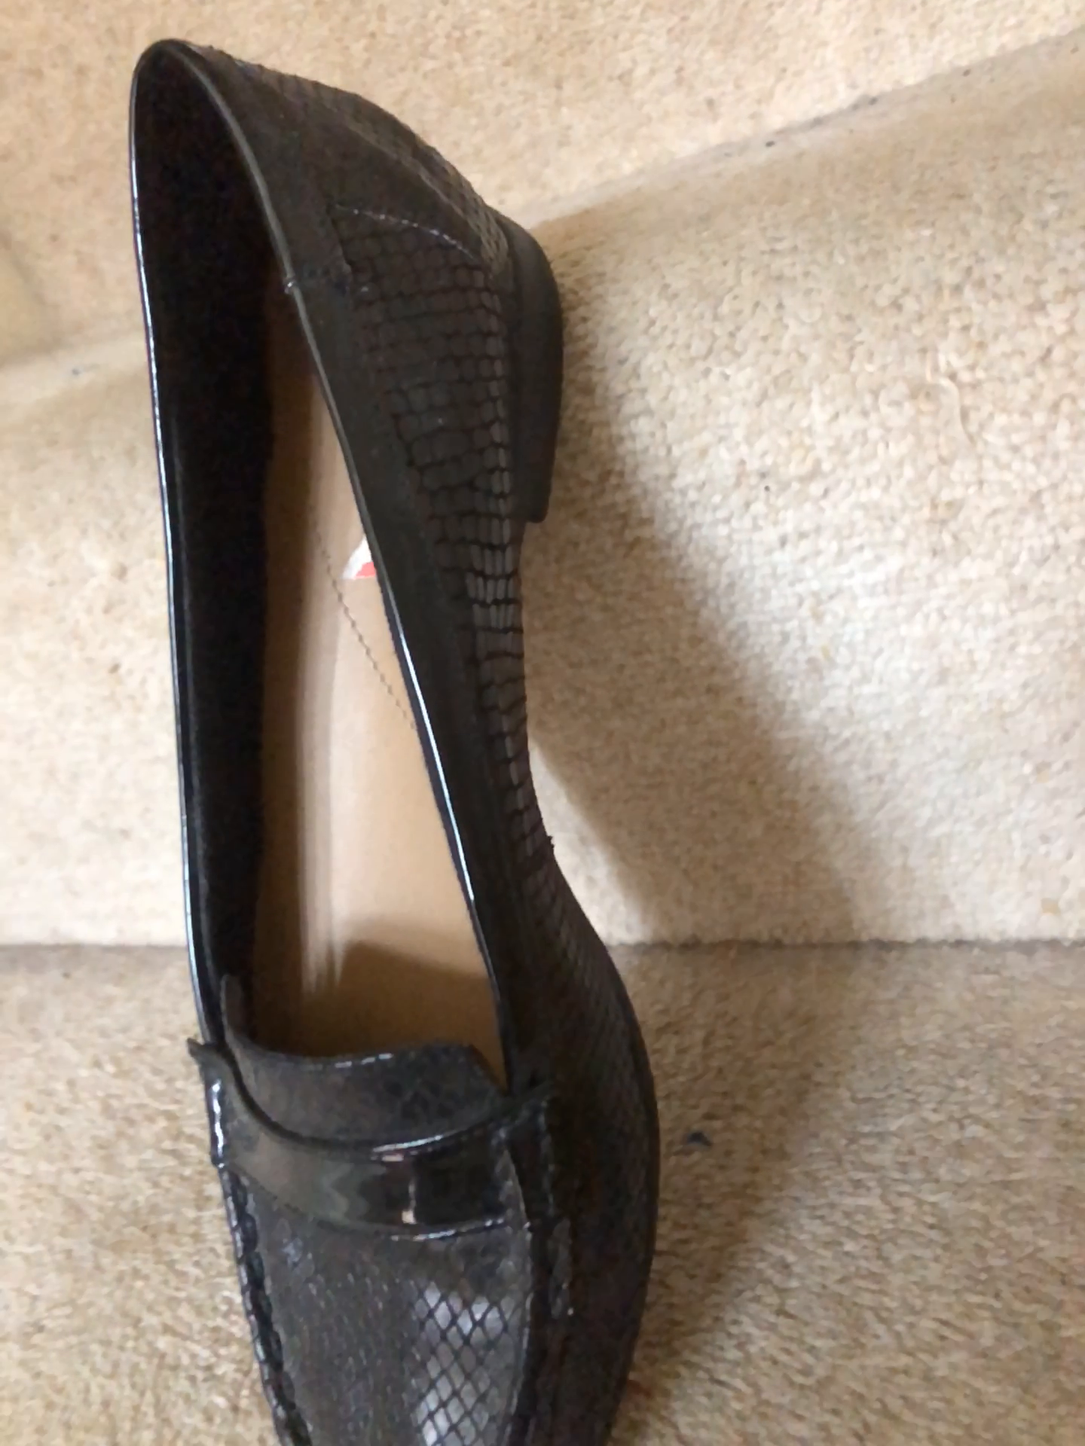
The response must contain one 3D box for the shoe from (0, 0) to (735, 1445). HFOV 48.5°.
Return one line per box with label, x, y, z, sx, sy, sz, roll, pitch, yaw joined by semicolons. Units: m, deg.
shoe;-0.031;0.016;0.221;0.090;0.260;0.070;-6;1;24
